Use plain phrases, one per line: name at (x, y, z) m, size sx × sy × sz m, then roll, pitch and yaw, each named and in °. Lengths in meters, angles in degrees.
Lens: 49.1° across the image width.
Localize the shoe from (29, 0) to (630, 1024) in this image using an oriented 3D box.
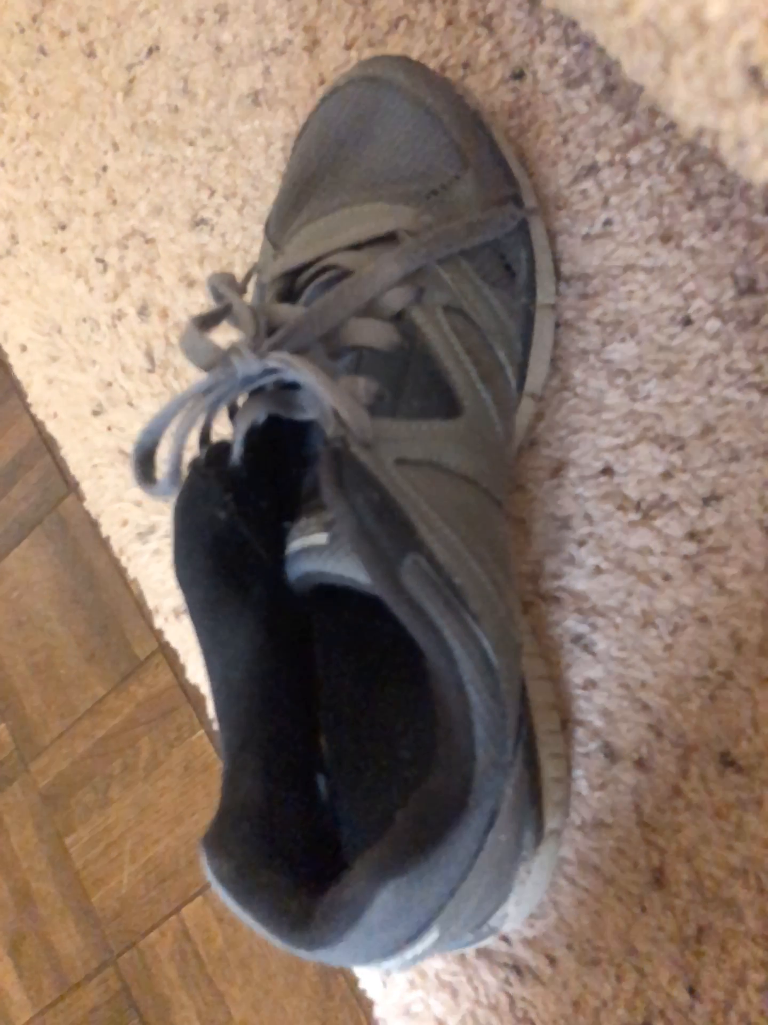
shoe at (-0.010, -0.014, 0.253) m, size 0.110 × 0.140 × 0.300 m, roll -8°, pitch 79°, yaw 23°
